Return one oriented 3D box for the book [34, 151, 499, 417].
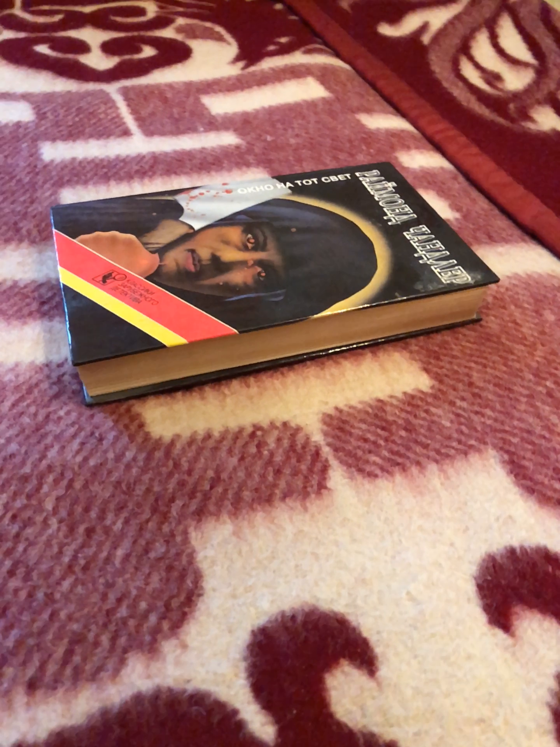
[{"bbox_3d":[-0.015,-0.060,0.330,0.208,0.032,0.134,-12,47,-13],"label":"book"}]
